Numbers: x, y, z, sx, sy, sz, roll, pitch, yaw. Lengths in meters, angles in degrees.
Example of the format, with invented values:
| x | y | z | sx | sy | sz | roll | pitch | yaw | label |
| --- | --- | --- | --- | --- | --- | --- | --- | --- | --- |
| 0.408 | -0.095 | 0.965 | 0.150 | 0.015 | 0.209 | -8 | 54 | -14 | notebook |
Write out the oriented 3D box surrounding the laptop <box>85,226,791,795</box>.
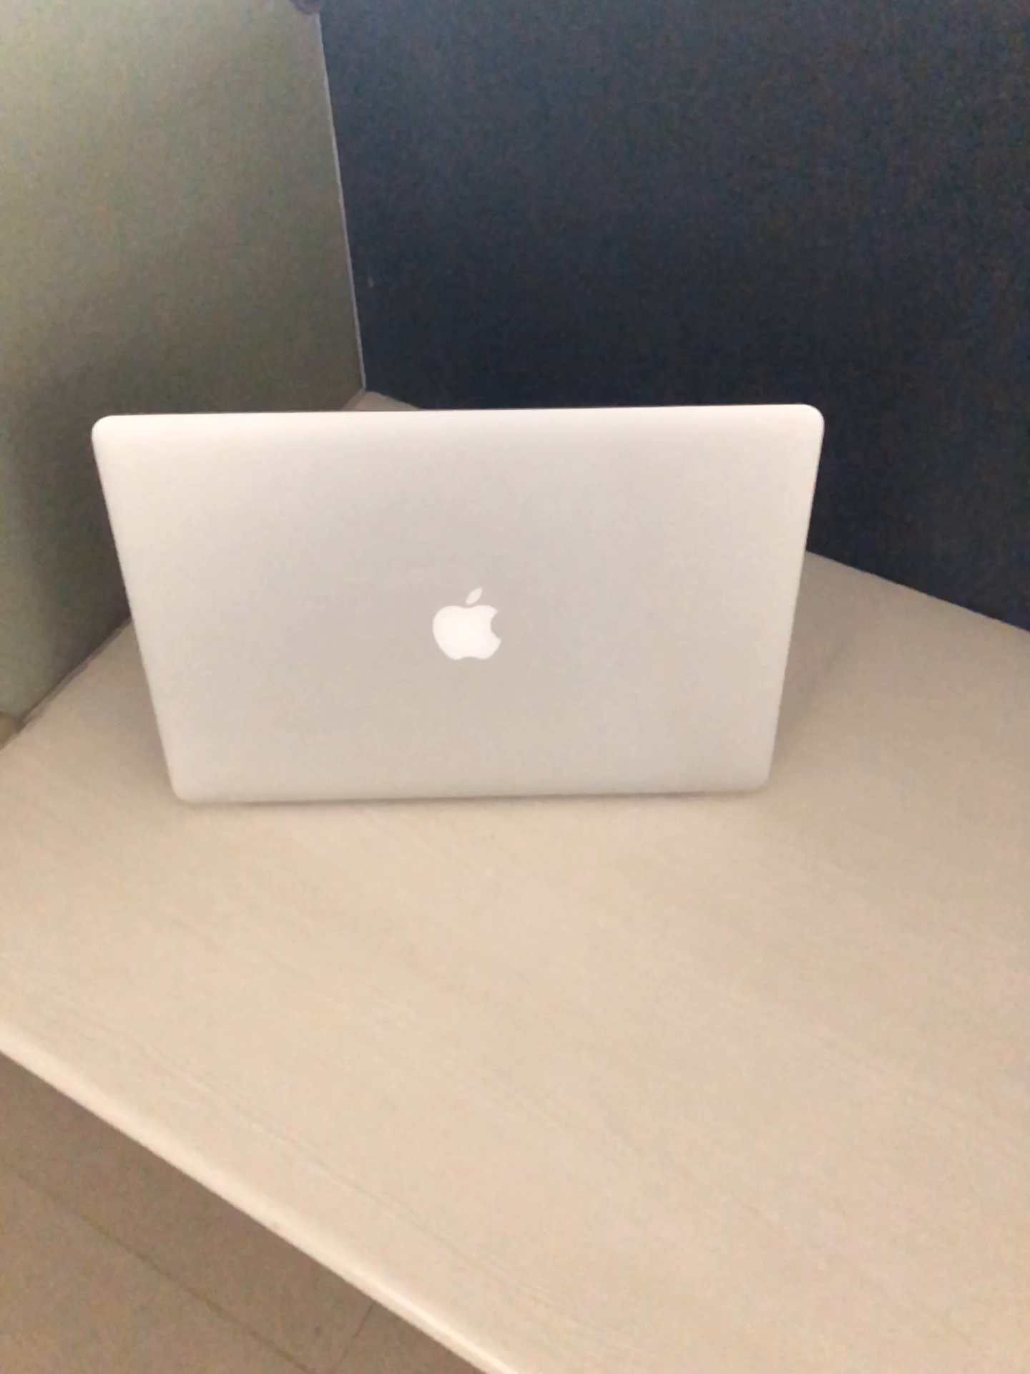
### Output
| x | y | z | sx | sy | sz | roll | pitch | yaw | label |
| --- | --- | --- | --- | --- | --- | --- | --- | --- | --- |
| -0.037 | -0.104 | 0.685 | 0.321 | 0.233 | 0.245 | -1 | 50 | -1 | laptop |
